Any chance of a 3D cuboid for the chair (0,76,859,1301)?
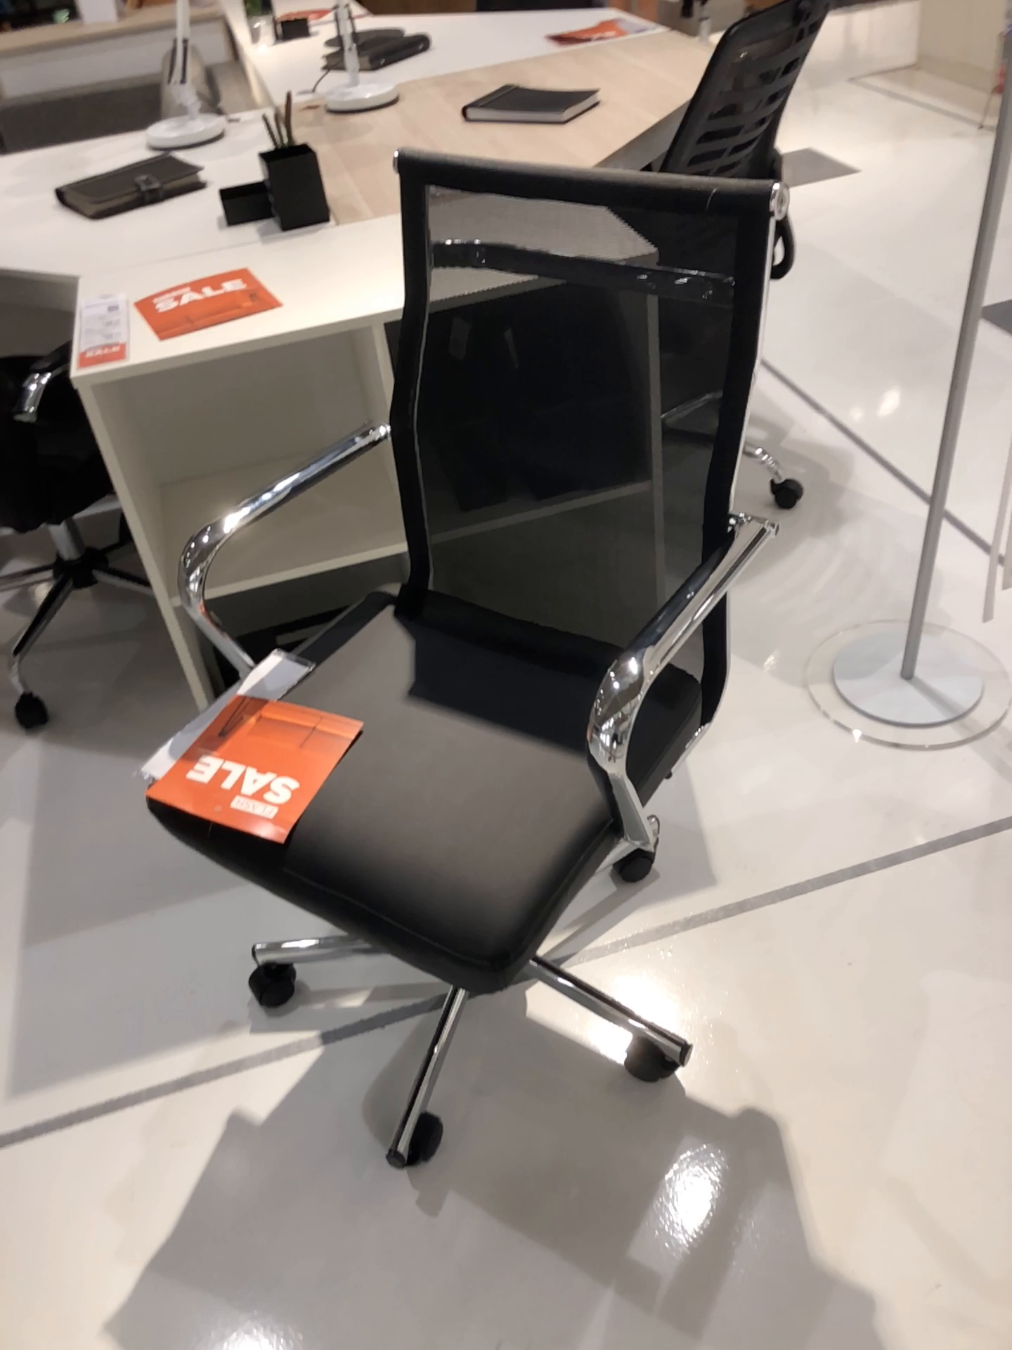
[{"bbox_3d":[-0.075,-0.002,1.171,0.612,0.992,0.623,18,45,29],"label":"chair"}]
